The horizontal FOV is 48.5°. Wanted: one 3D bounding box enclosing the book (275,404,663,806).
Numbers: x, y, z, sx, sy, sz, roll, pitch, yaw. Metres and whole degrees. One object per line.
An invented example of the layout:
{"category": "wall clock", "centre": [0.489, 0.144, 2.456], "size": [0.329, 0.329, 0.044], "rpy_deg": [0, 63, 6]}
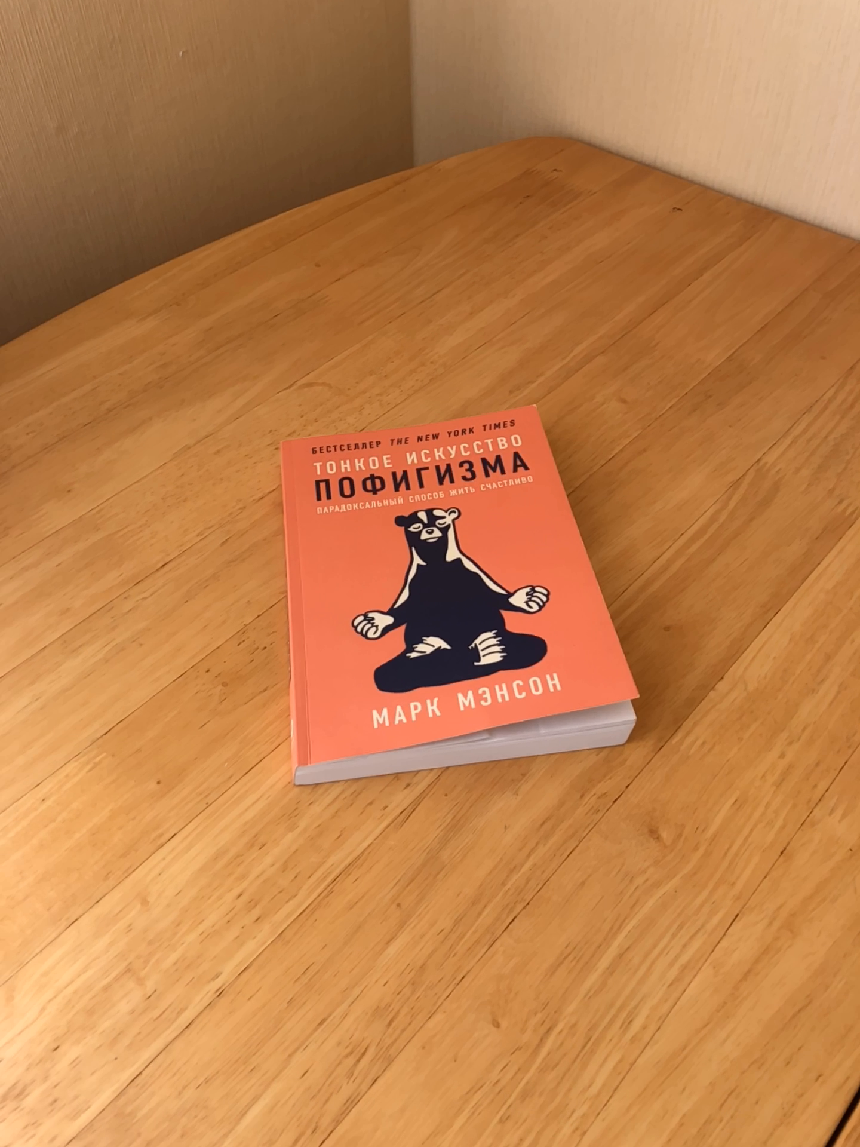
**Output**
{"category": "book", "centre": [0.006, 0.002, 0.443], "size": [0.143, 0.033, 0.197], "rpy_deg": [-7, 48, -5]}
